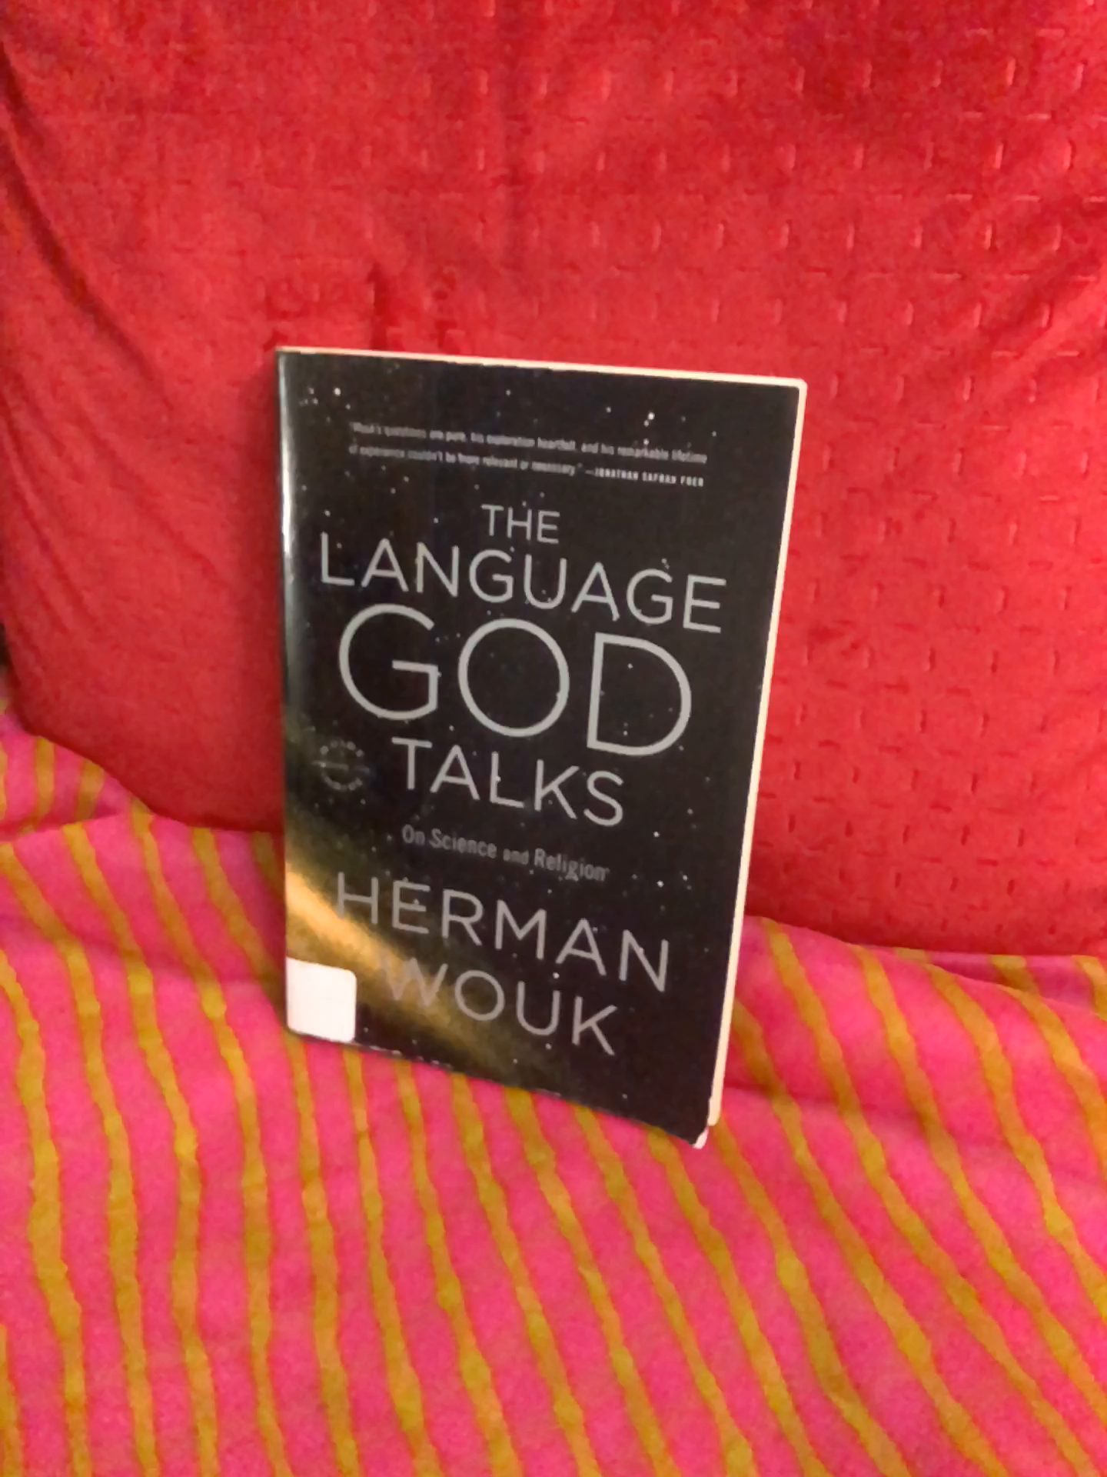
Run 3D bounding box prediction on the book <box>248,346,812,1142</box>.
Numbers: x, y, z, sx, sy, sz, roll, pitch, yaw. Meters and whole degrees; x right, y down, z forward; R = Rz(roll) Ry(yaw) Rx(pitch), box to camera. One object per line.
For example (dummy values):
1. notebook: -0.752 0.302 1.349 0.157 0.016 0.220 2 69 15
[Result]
1. book: -0.013 0.001 0.338 0.138 0.199 0.030 9 19 17
